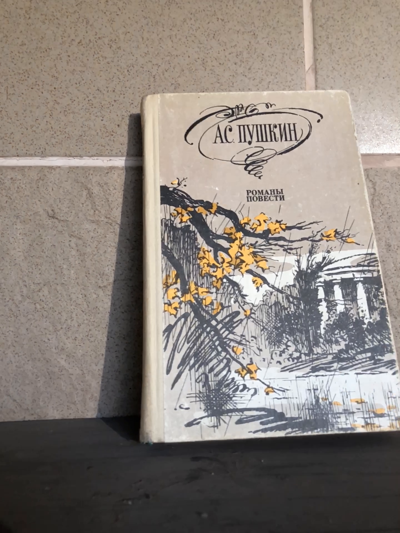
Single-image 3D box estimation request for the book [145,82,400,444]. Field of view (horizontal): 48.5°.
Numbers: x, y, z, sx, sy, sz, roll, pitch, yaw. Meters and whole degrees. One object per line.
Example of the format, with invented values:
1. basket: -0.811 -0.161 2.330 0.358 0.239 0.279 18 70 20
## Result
1. book: 0.034 -0.009 0.253 0.125 0.198 0.040 -1 -18 -3
